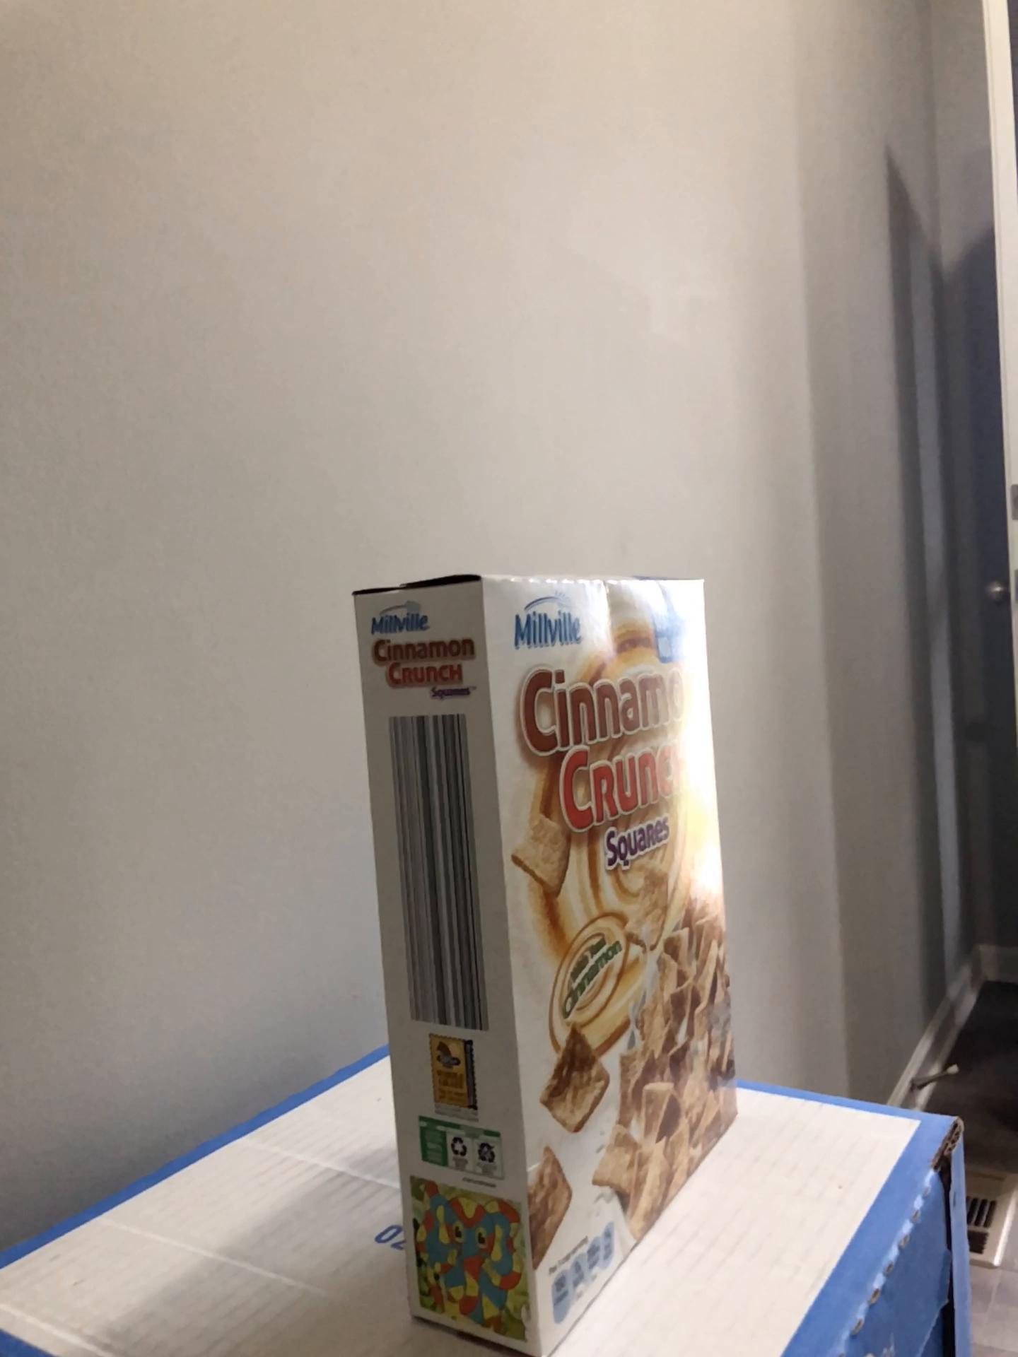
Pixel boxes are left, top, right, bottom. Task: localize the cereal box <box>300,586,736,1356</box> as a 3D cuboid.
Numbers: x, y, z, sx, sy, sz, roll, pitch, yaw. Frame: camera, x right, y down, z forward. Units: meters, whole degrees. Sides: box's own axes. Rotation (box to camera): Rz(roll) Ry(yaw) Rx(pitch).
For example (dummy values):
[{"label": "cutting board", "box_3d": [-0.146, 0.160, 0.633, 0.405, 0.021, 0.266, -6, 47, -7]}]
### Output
[{"label": "cereal box", "box_3d": [0.018, 0.090, 0.464, 0.070, 0.250, 0.210, -3, 2, 30]}]
